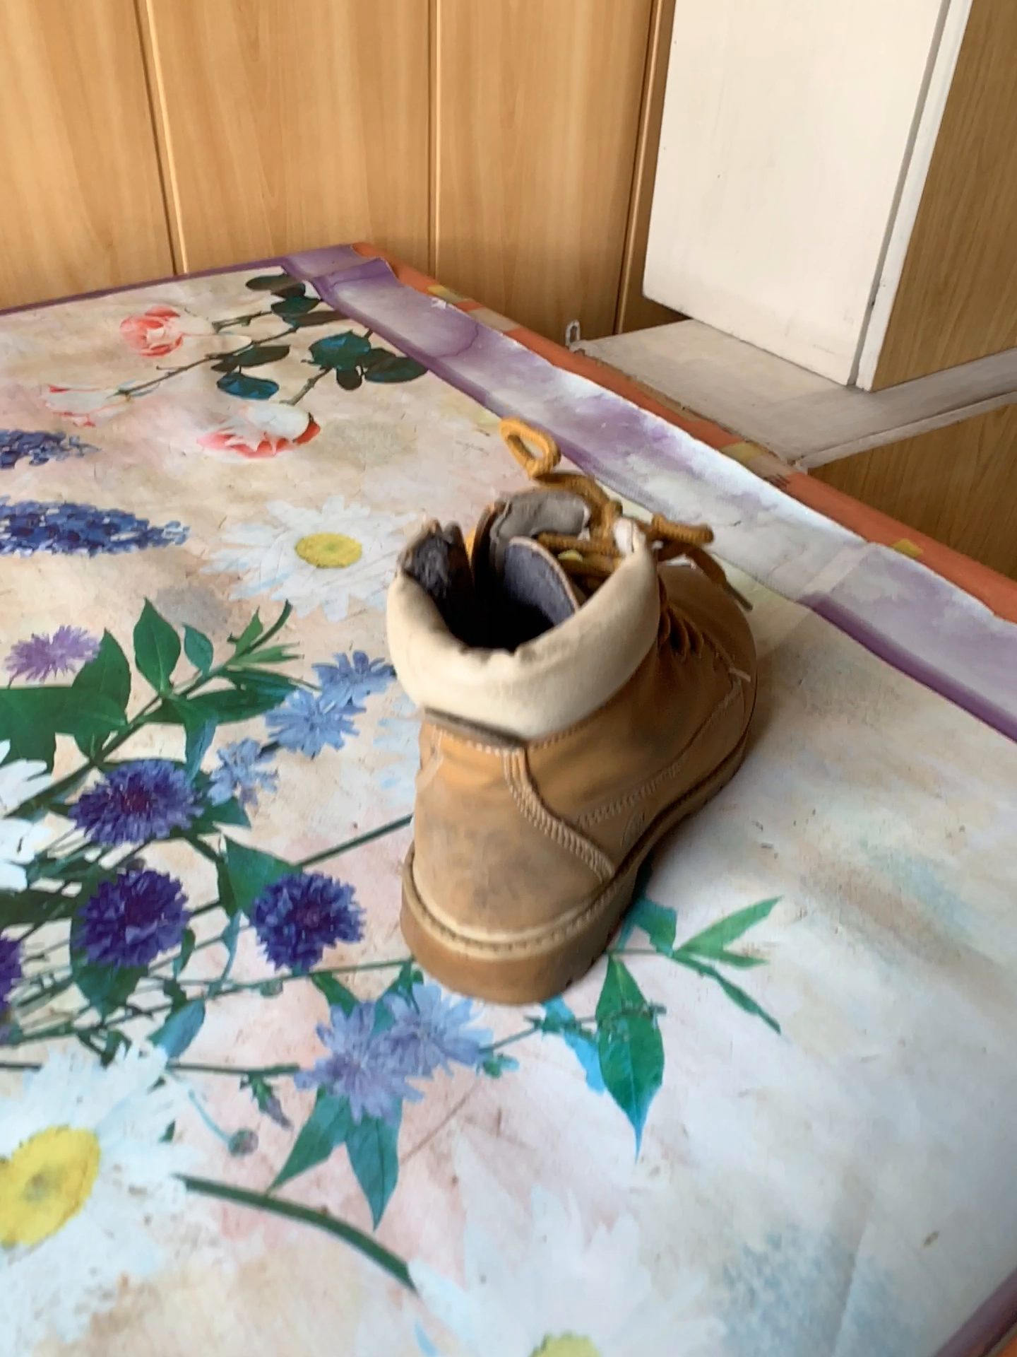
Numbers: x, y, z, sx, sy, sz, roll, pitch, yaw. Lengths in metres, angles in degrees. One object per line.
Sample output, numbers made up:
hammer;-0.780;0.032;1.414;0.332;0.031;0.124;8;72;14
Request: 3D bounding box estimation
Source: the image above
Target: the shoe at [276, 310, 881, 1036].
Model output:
shoe;0.036;-0.021;0.353;0.090;0.129;0.222;22;41;23
